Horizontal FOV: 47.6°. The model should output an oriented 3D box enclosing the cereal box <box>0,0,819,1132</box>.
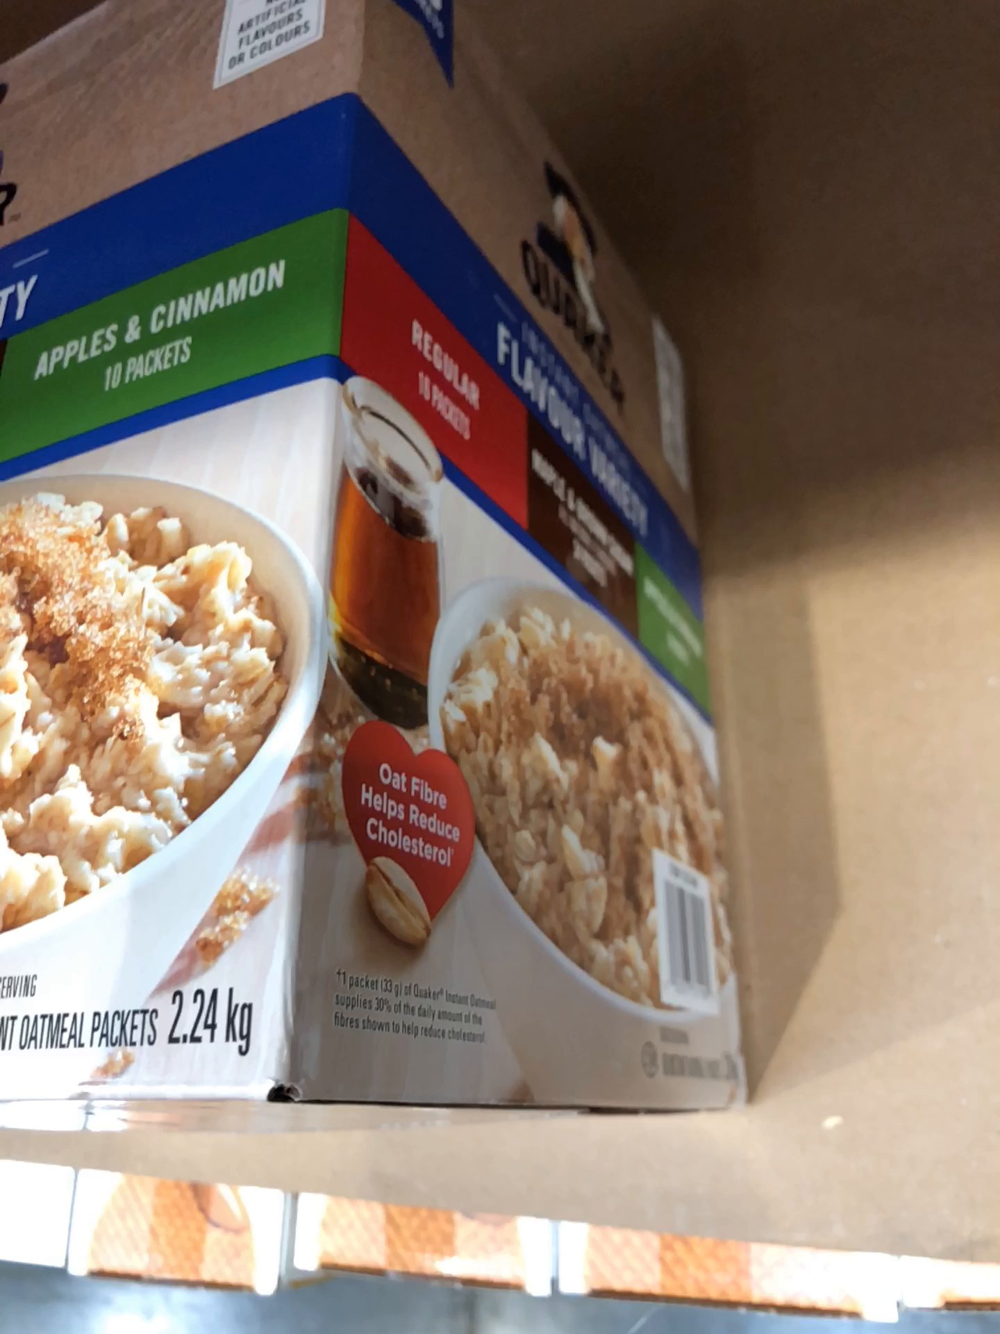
[{"bbox_3d":[-0.070,-0.015,0.312,0.241,0.199,0.260,-11,64,26],"label":"cereal box"}]
